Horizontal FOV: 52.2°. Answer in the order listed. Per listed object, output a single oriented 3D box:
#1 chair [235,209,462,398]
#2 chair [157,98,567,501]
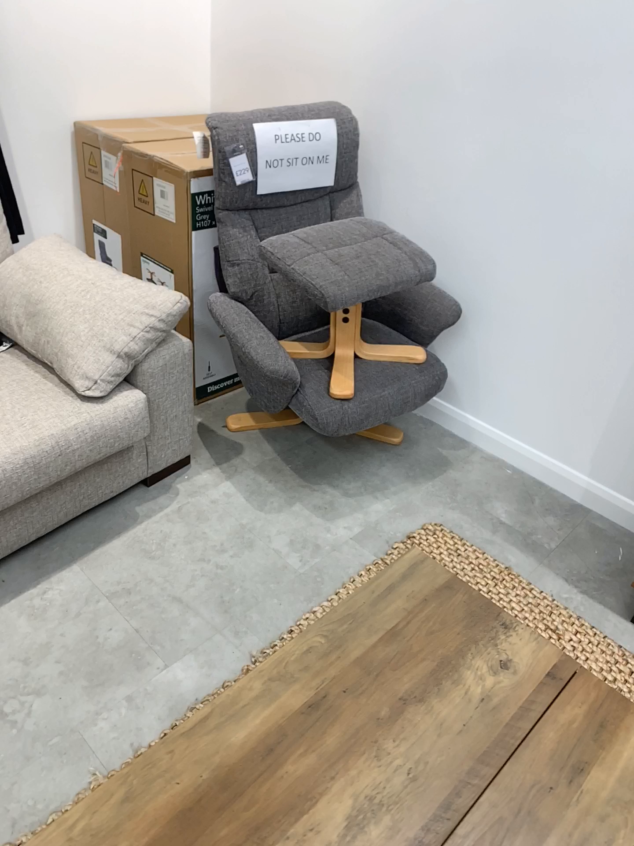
[{"bbox_3d":[0.082,-0.398,2.013,0.498,0.352,0.448,-21,42,-35],"label":"chair"},{"bbox_3d":[0.089,-0.472,2.077,0.870,0.896,0.790,-21,42,-35],"label":"chair"}]
